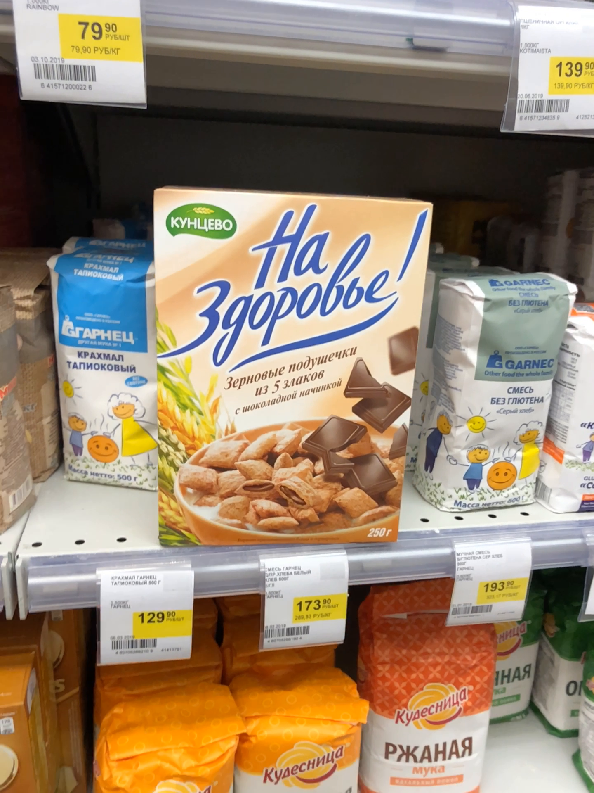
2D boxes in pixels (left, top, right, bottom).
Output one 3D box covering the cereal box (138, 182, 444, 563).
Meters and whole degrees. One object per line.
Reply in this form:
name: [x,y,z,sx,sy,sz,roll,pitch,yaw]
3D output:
cereal box: [-0.008,-0.011,0.399,0.160,0.219,0.050,0,18,-7]
